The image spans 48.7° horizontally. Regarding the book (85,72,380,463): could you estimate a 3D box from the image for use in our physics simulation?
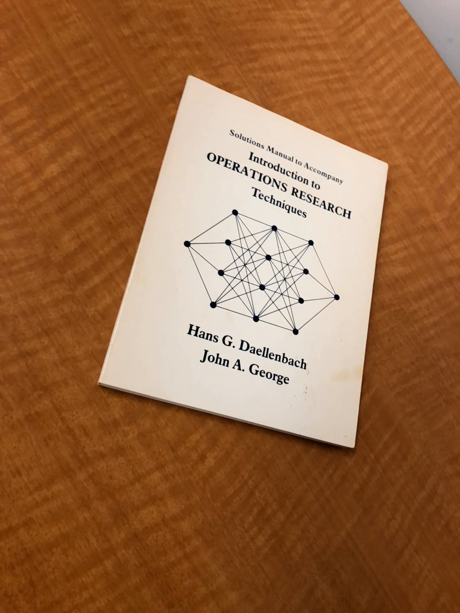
[{"bbox_3d":[0.019,-0.031,0.374,0.180,0.020,0.250,18,70,-18],"label":"book"}]
